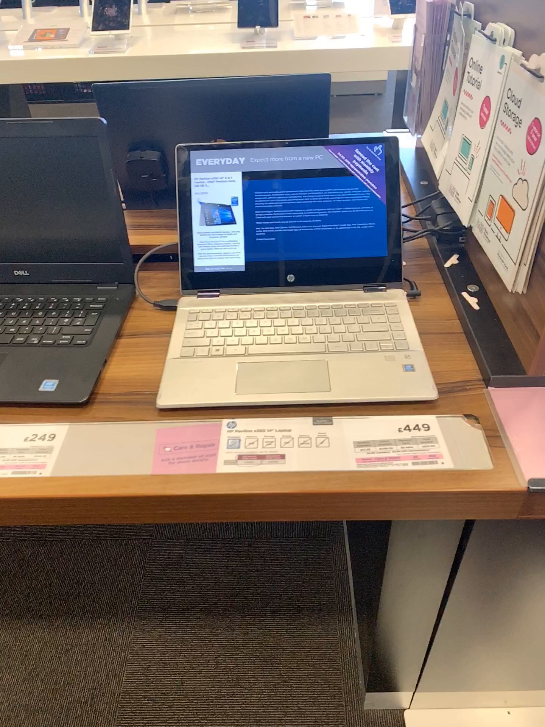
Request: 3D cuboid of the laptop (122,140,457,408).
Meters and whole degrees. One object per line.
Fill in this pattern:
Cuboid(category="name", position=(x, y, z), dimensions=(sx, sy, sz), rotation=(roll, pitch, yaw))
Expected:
Cuboid(category="laptop", position=(0.015, -0.133, 0.707), dimensions=(0.312, 0.154, 0.364), rotation=(-2, 41, 1))
